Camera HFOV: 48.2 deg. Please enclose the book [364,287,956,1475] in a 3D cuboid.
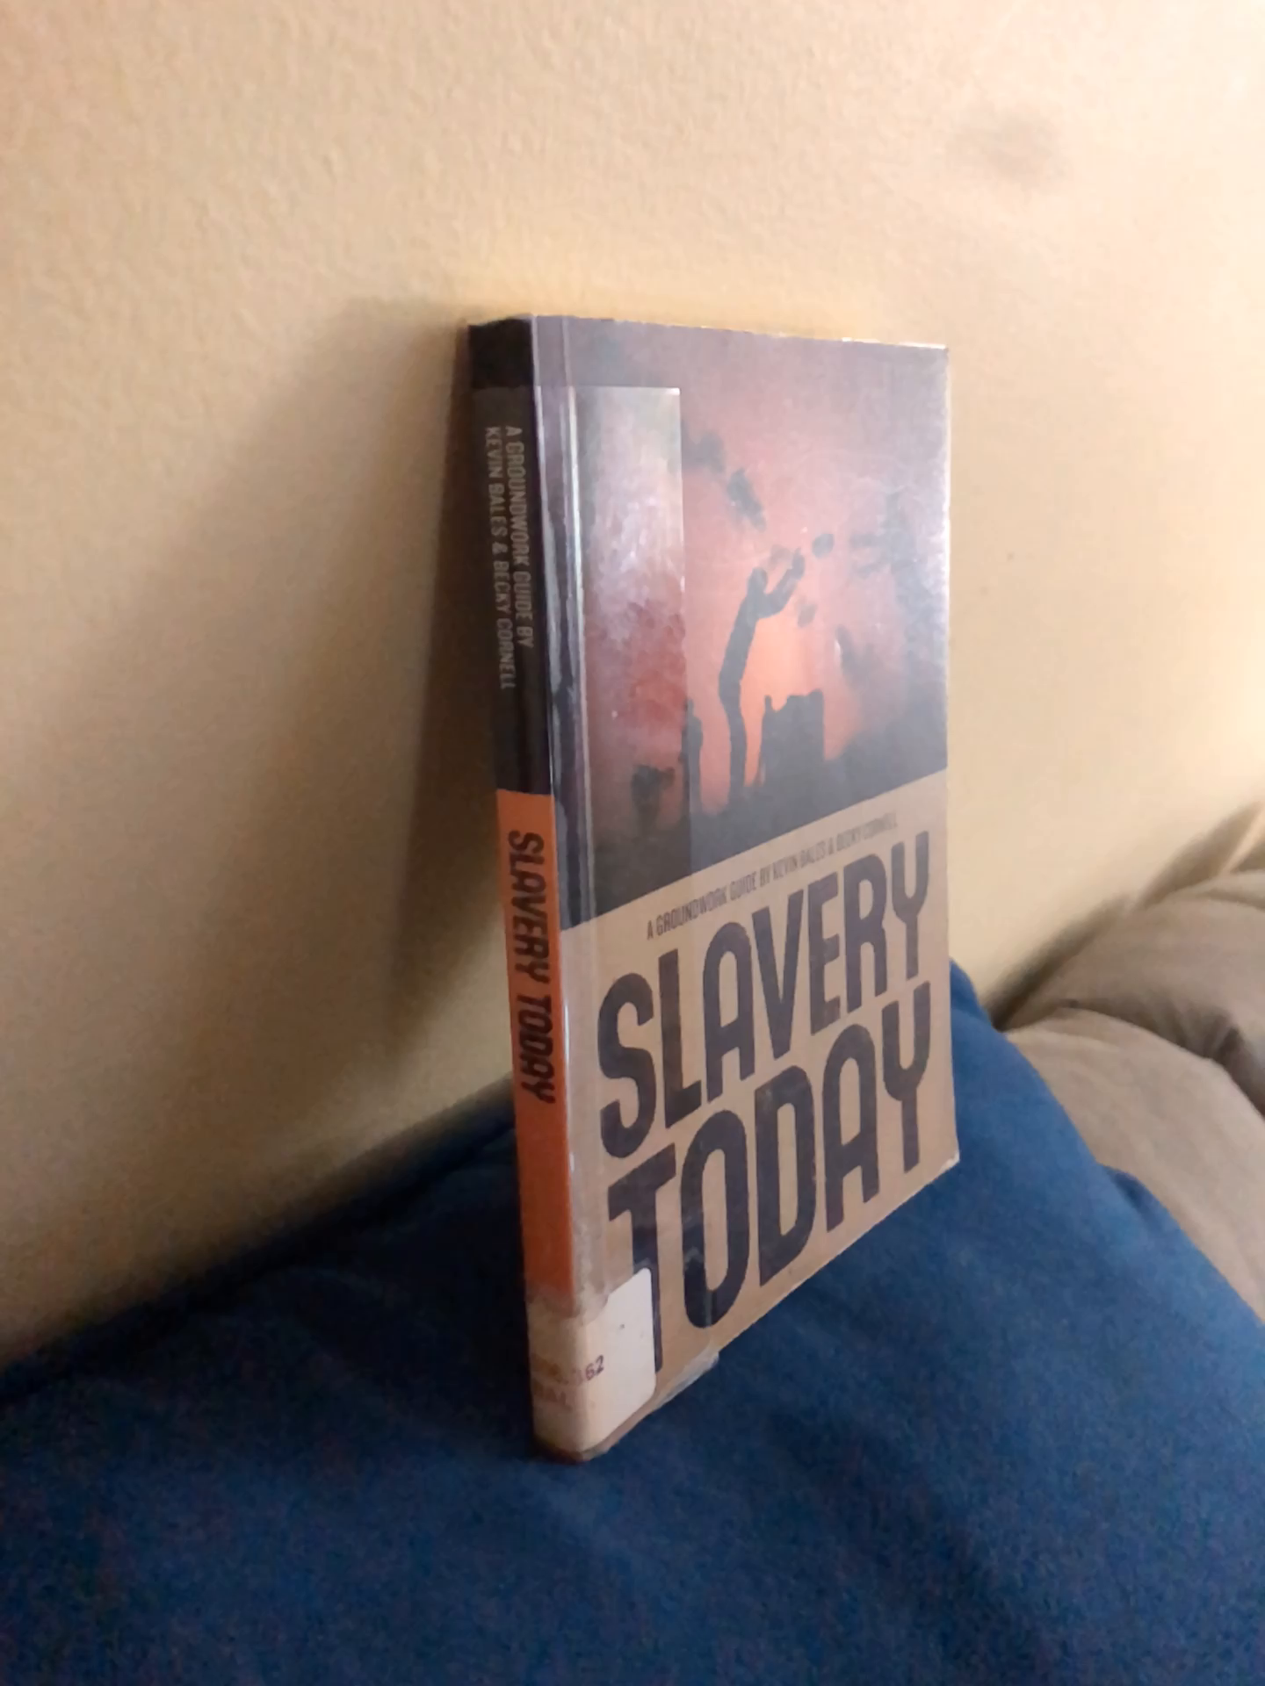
[{"bbox_3d":[0.018,-0.001,0.265,0.028,0.182,0.128,8,18,39],"label":"book"}]
